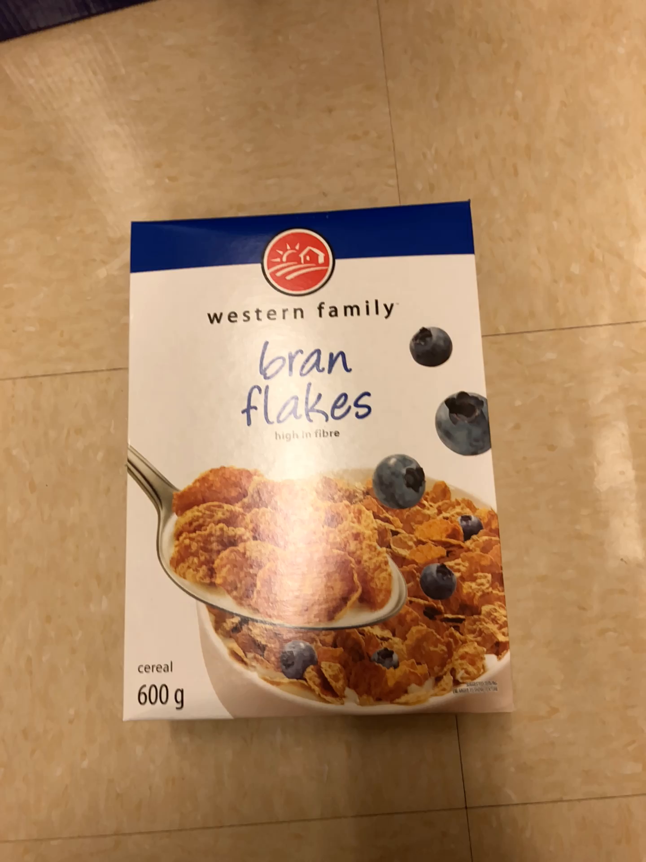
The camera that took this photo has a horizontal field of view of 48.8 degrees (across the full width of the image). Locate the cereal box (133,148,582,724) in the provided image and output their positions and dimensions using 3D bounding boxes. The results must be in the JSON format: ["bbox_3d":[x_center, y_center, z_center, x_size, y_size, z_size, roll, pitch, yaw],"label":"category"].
[{"bbox_3d":[0.012,0.001,0.421,0.220,0.090,0.300,-3,79,2],"label":"cereal box"}]
